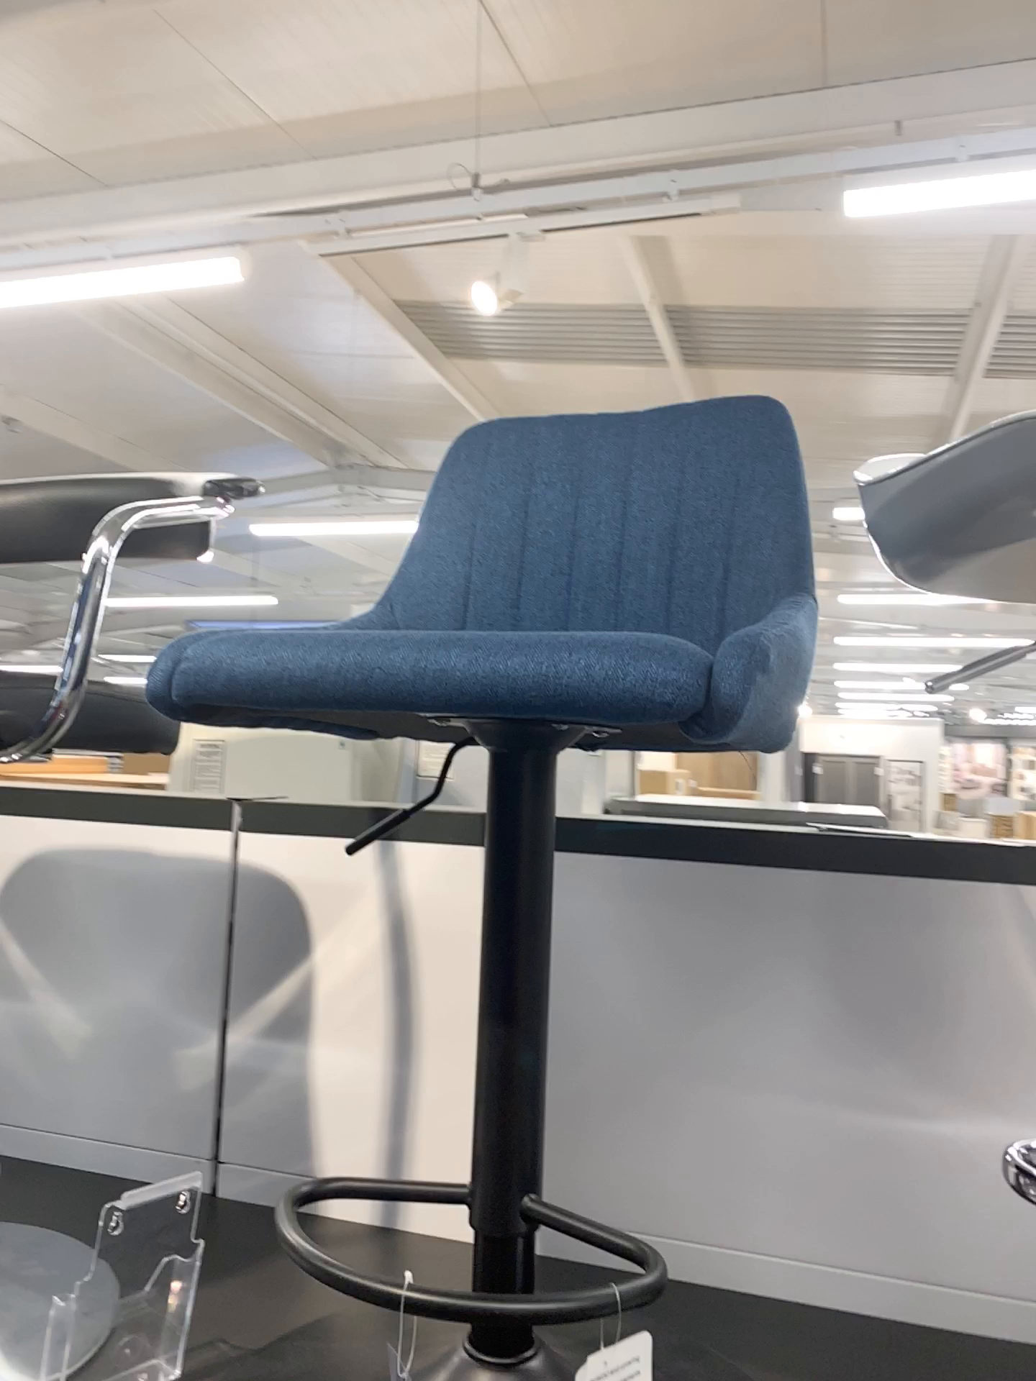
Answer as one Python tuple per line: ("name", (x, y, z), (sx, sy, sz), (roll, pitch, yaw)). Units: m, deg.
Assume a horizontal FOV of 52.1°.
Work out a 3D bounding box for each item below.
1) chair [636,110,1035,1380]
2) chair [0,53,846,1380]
("chair", (0.320, 0.161, 0.627), (0.409, 0.763, 0.387), (1, -5, 17))
("chair", (-0.035, 0.119, 0.826), (0.539, 0.874, 0.507), (1, -5, 17))
